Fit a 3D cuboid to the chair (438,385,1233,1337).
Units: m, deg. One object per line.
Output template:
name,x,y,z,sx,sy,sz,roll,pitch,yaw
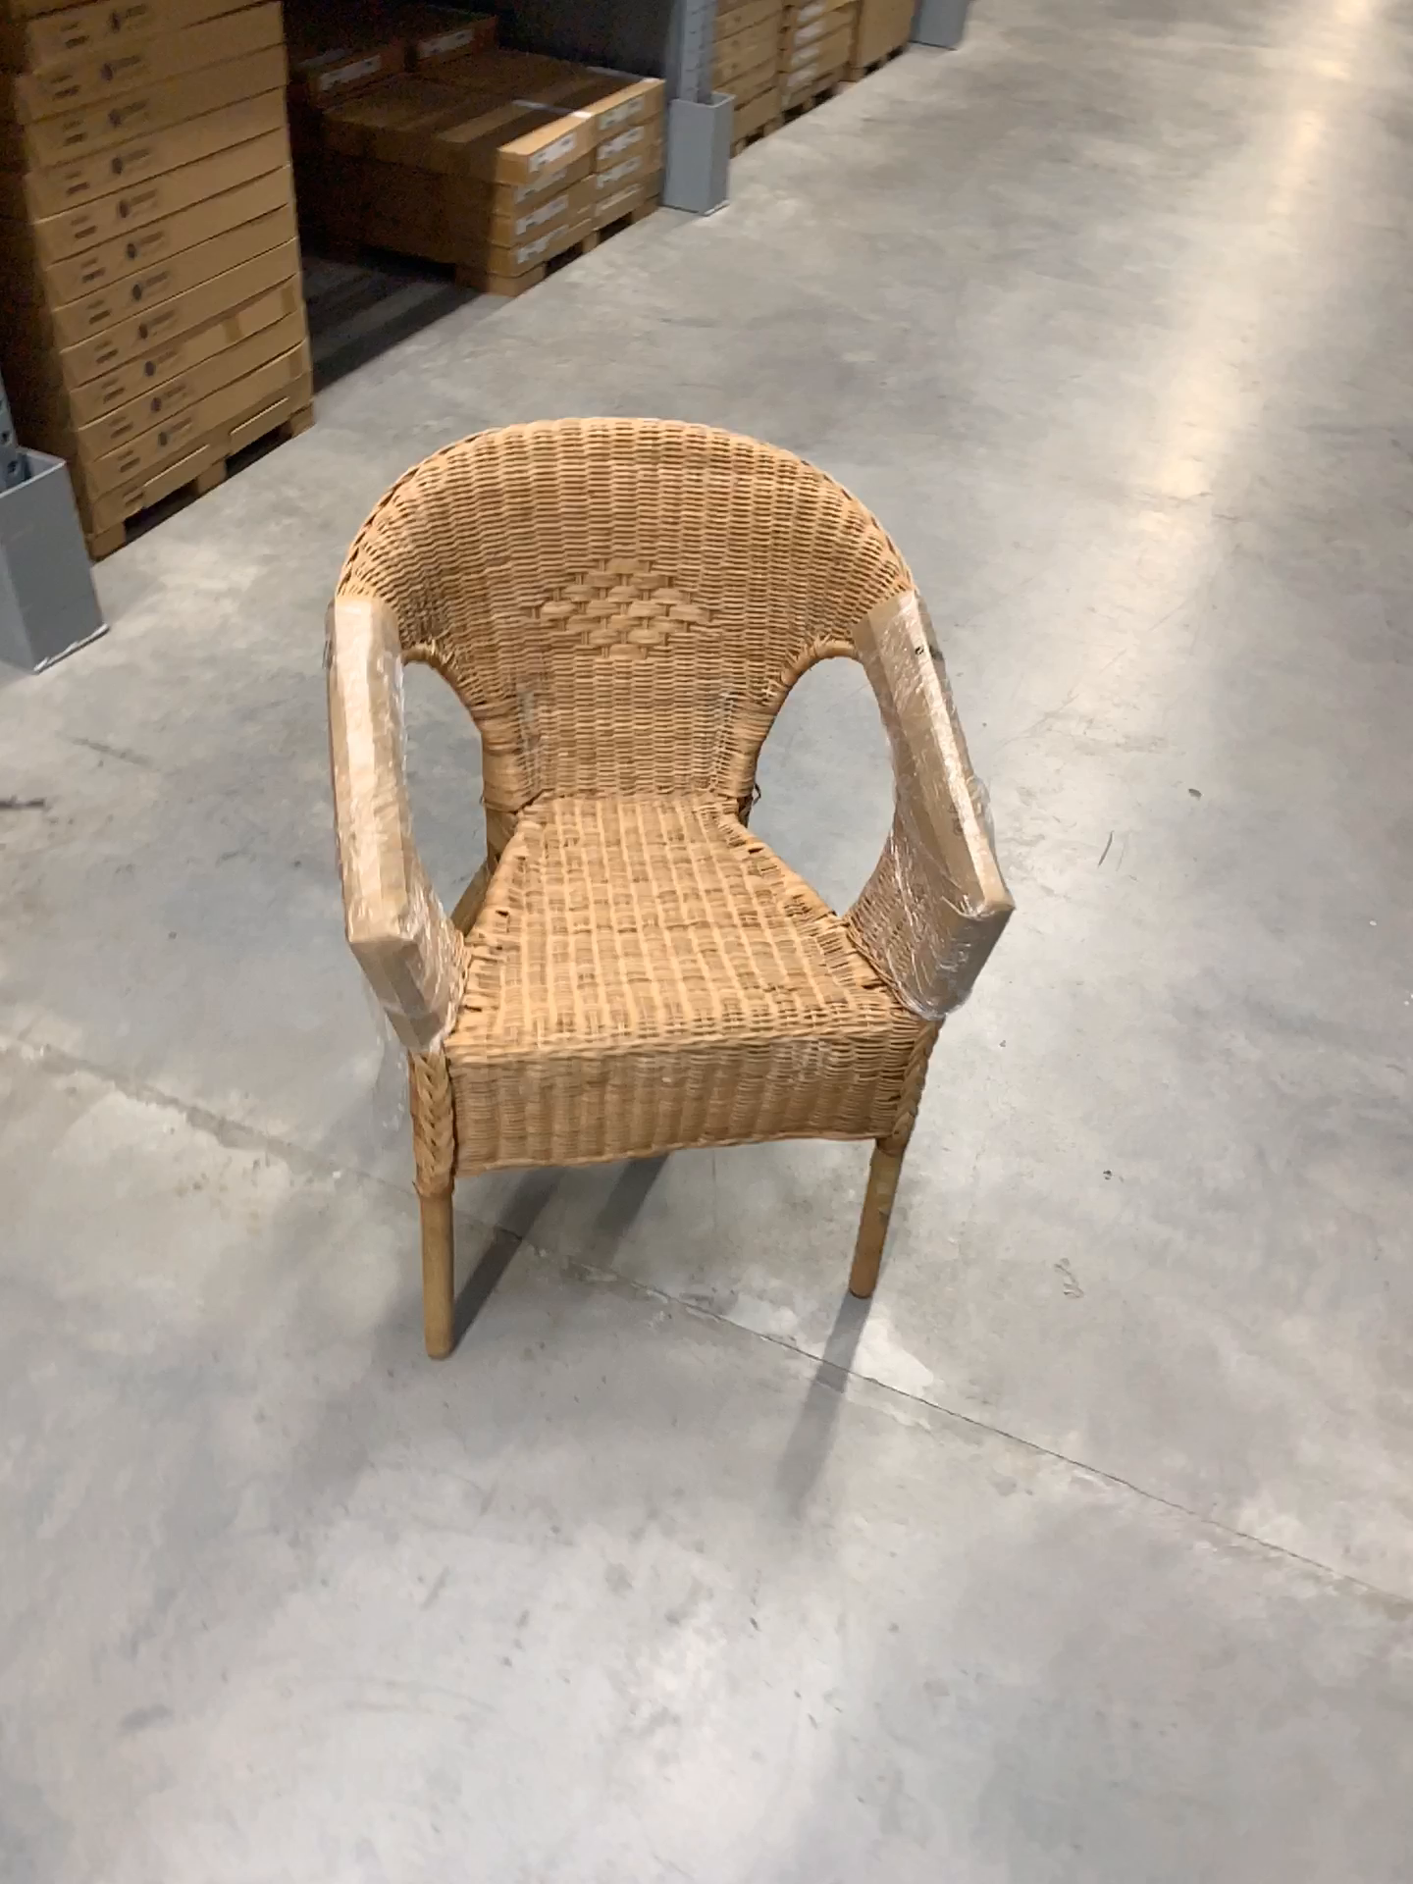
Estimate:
chair,0.040,-0.090,1.551,0.600,0.757,0.653,-2,44,-8
